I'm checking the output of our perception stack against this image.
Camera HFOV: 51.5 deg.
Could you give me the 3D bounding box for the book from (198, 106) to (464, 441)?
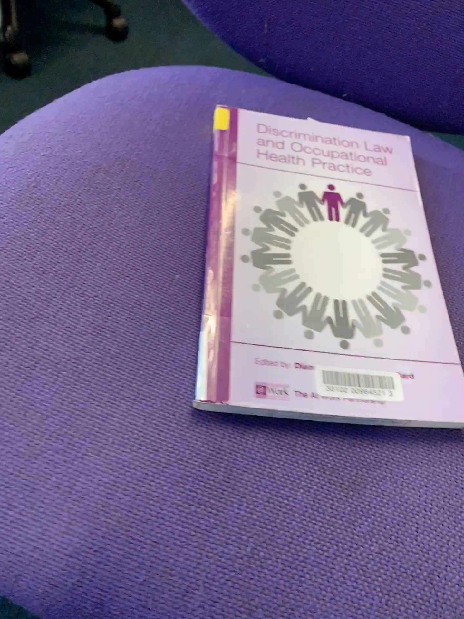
[{"bbox_3d":[0.063,-0.038,0.323,0.157,0.022,0.237,6,59,-8],"label":"book"}]
